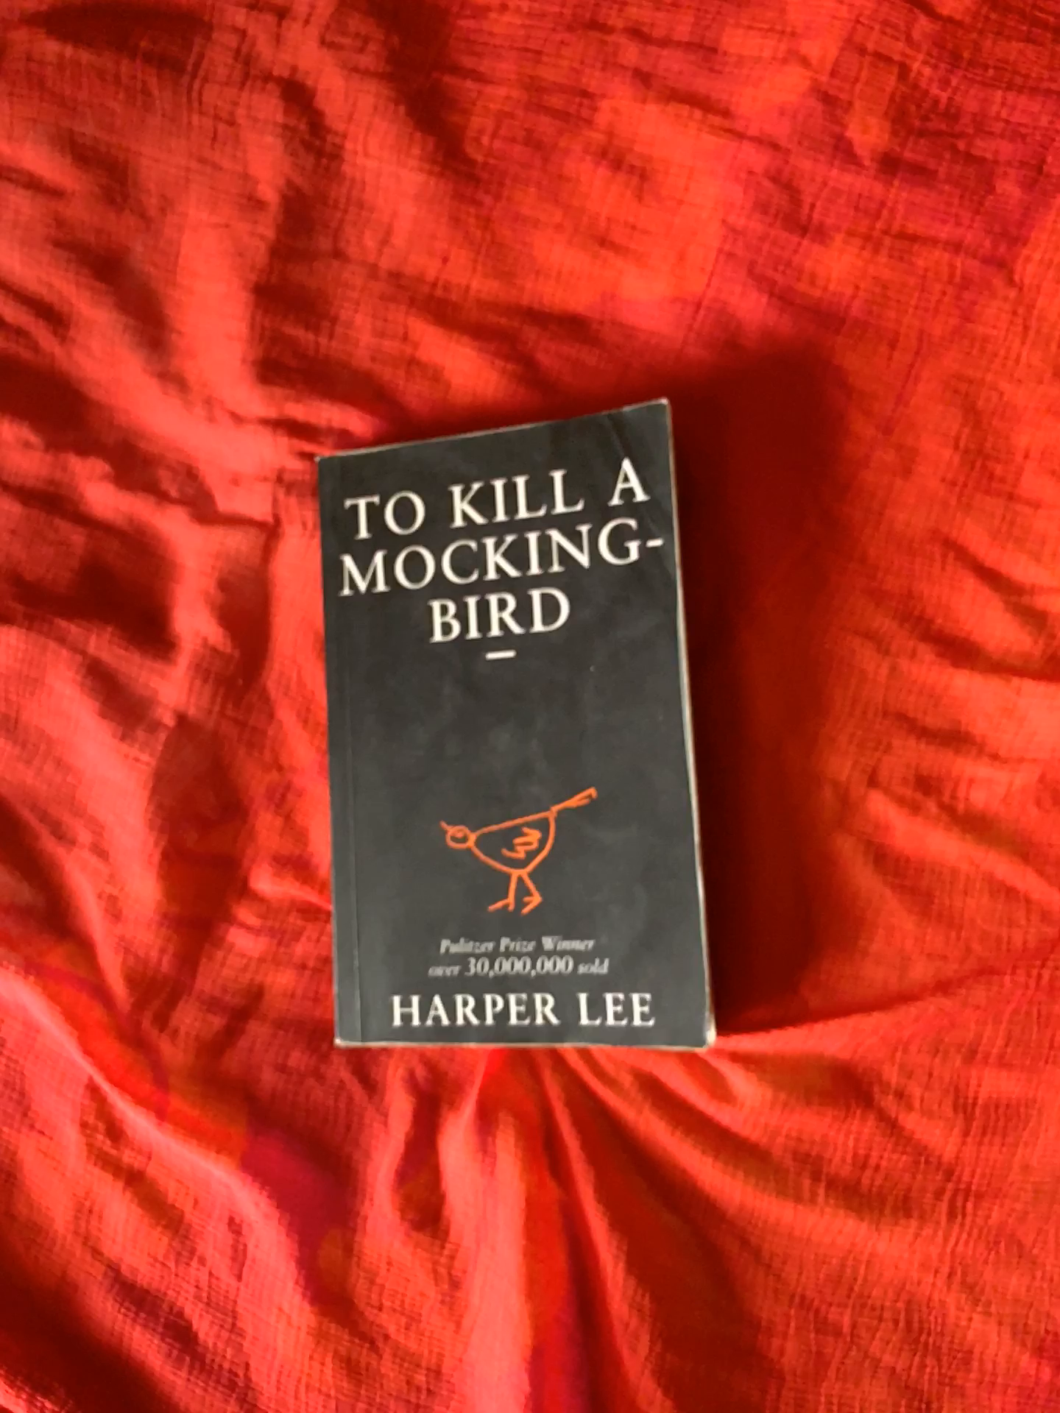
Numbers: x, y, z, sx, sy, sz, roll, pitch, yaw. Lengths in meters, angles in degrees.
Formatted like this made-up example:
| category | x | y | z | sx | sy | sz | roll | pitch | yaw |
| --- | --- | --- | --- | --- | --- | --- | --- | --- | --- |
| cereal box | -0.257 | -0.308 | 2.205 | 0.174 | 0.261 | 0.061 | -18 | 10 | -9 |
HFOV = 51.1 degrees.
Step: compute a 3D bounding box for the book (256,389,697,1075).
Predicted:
| category | x | y | z | sx | sy | sz | roll | pitch | yaw |
| --- | --- | --- | --- | --- | --- | --- | --- | --- | --- |
| book | -0.016 | 0.010 | 0.324 | 0.110 | 0.040 | 0.180 | -5 | 85 | 13 |
